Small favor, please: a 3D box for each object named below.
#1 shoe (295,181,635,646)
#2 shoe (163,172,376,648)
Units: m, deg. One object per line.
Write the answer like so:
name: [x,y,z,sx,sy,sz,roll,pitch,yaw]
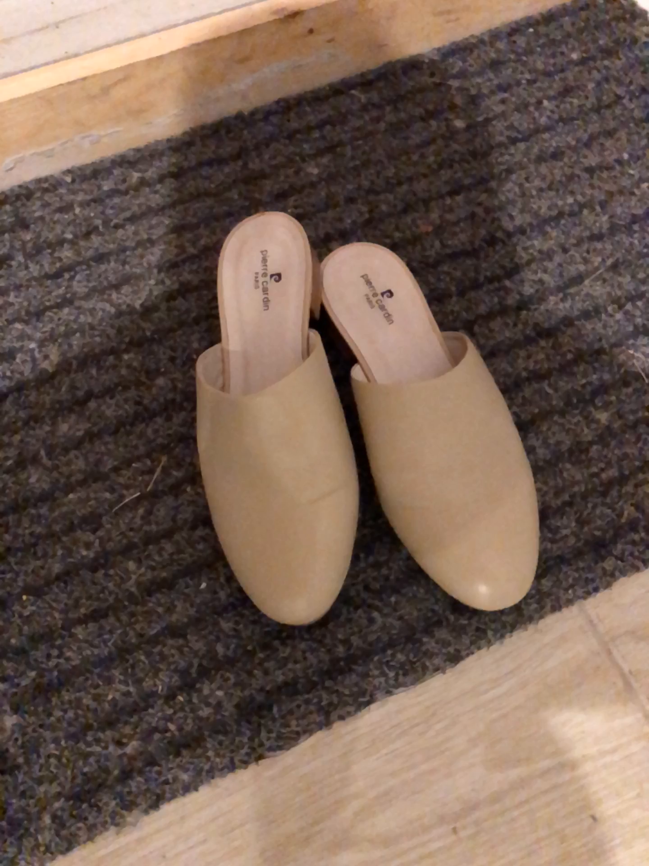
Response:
shoe: [0.064,-0.021,0.410,0.090,0.070,0.251,-16,64,-6]
shoe: [-0.033,-0.022,0.390,0.090,0.070,0.251,-5,63,-1]
